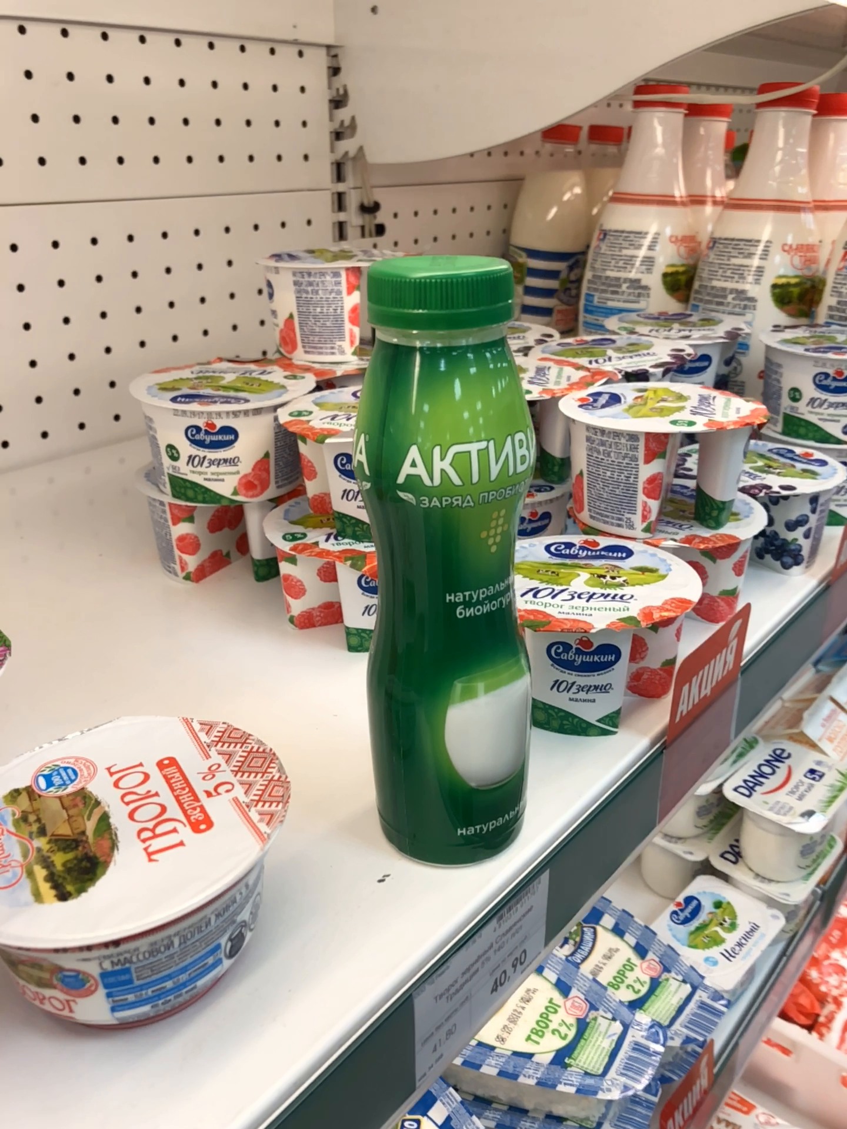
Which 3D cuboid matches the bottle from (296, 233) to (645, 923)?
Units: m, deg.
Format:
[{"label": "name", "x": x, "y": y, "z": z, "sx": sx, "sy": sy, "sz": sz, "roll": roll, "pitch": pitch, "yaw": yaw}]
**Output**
[{"label": "bottle", "x": 0.013, "y": 0.003, "z": 0.285, "sx": 0.070, "sy": 0.189, "sz": 0.060, "roll": -17, "pitch": 28, "yaw": -32}]
